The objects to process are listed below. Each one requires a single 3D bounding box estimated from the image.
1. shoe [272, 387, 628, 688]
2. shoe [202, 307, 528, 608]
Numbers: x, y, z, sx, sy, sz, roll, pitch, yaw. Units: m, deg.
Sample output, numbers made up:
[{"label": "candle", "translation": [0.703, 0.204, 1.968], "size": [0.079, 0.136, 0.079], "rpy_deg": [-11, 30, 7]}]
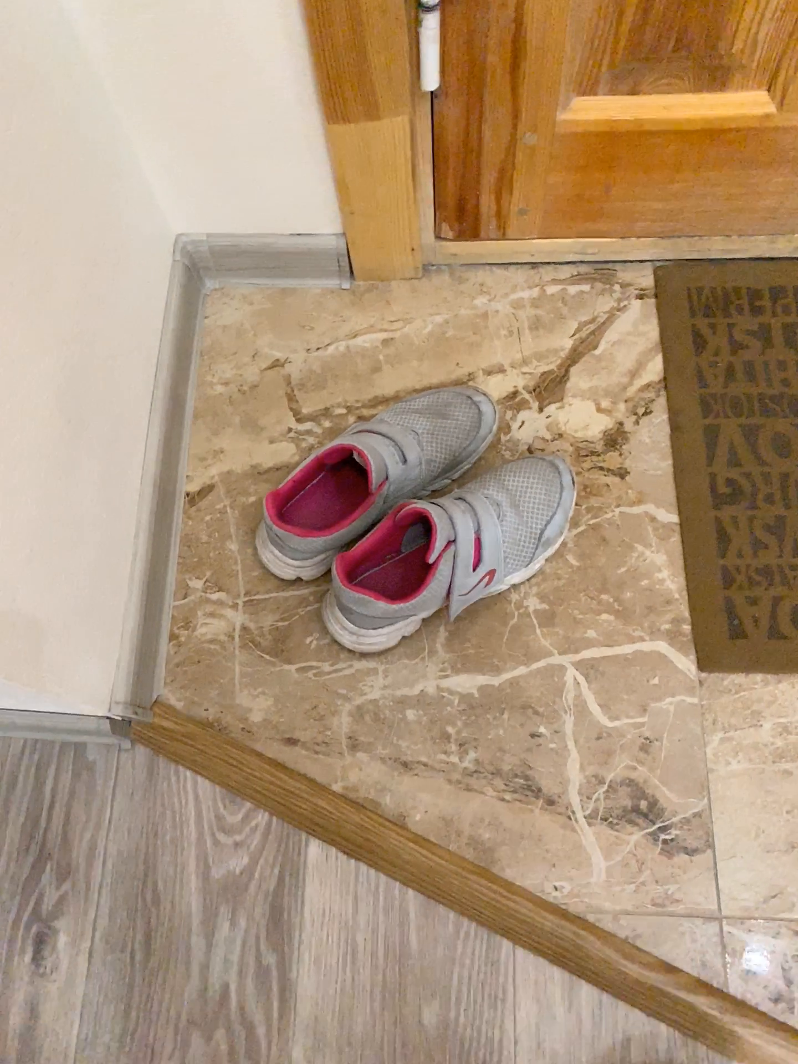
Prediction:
[{"label": "shoe", "translation": [0.042, 0.007, 0.672], "size": [0.260, 0.100, 0.100], "rpy_deg": [-32, 71, -8]}, {"label": "shoe", "translation": [-0.023, -0.062, 0.696], "size": [0.250, 0.100, 0.100], "rpy_deg": [-36, 72, -9]}]
